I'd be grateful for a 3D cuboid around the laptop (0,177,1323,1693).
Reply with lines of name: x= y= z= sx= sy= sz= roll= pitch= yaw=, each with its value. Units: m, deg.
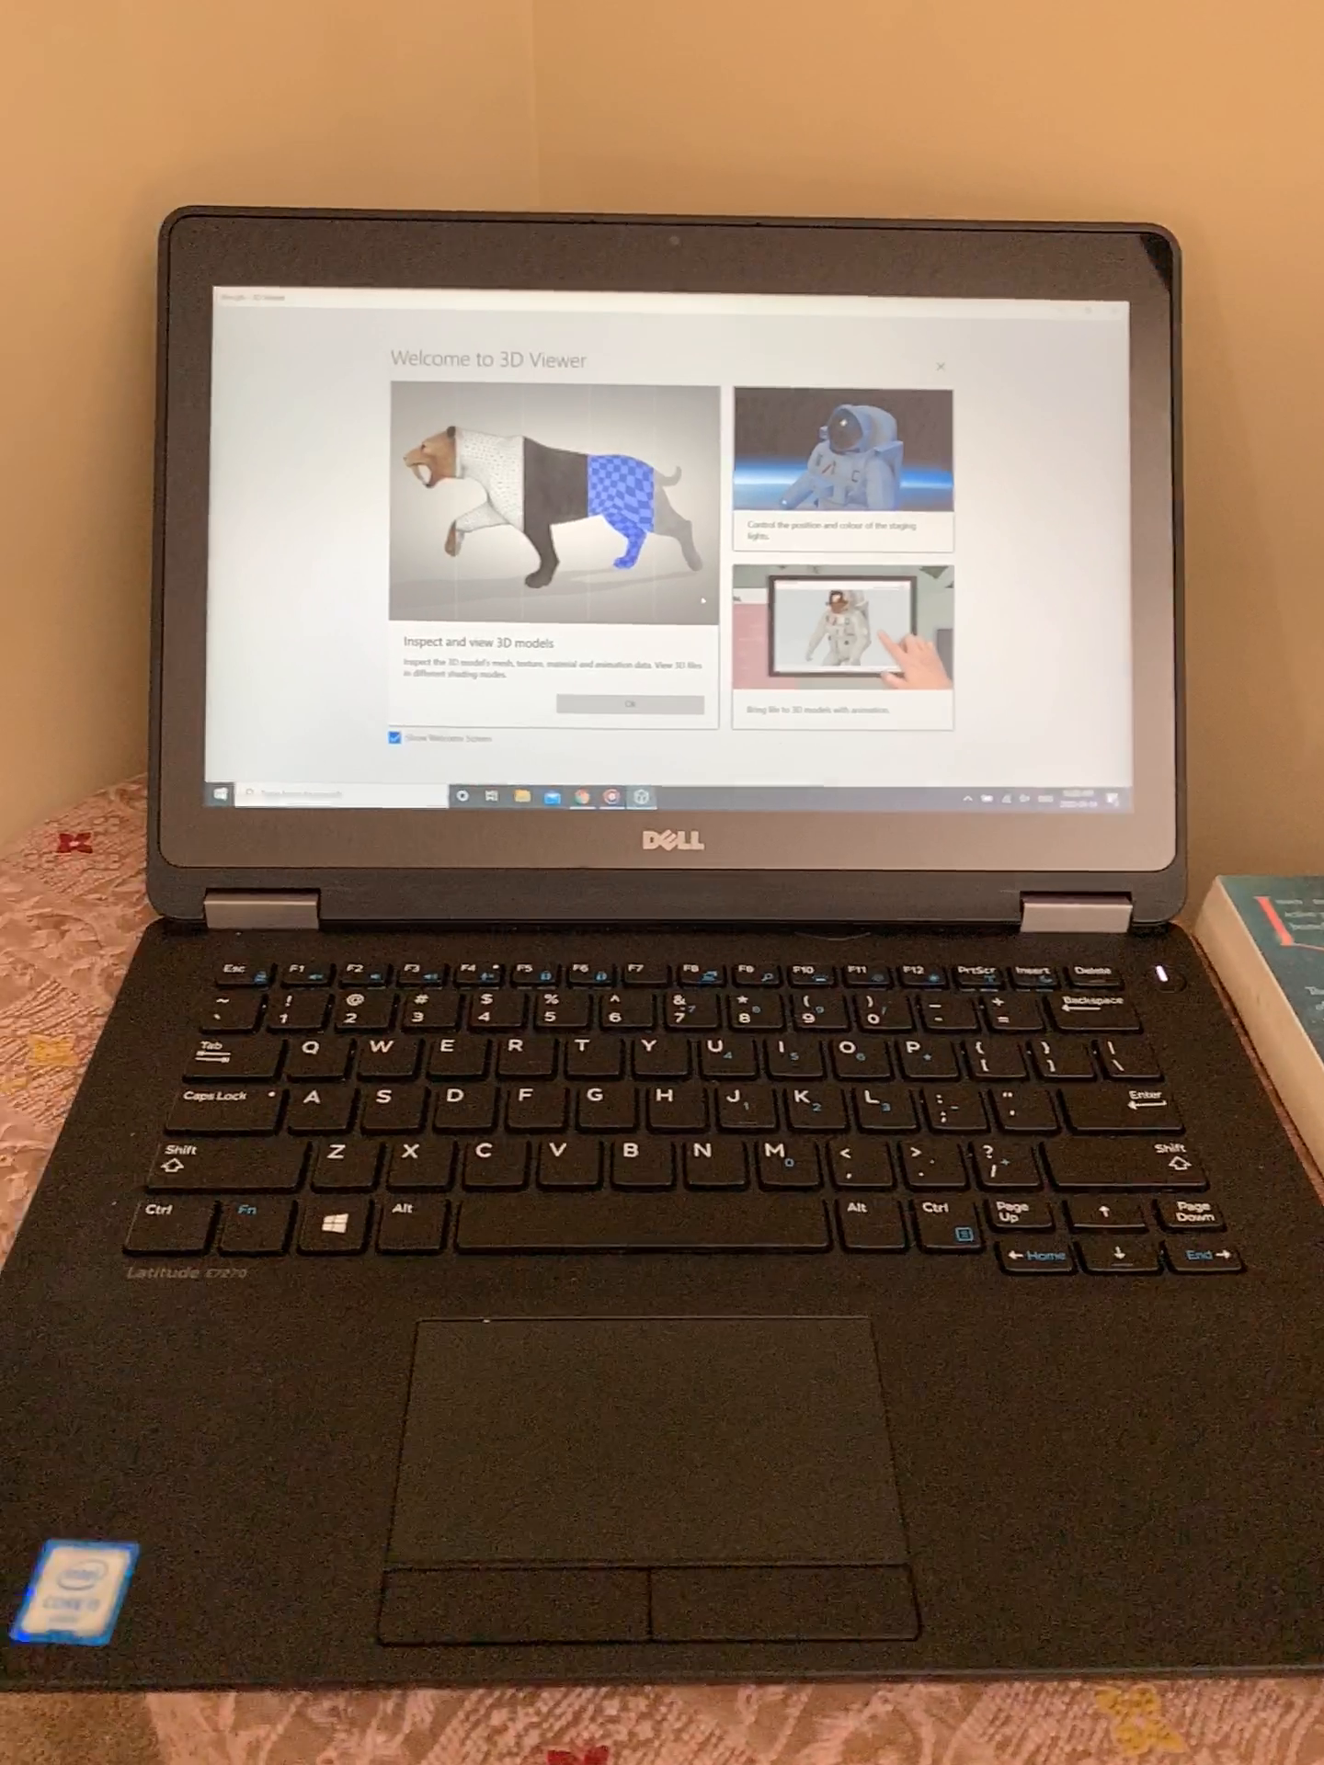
laptop: x=0.006 y=-0.046 z=0.398 sx=0.365 sy=0.186 sz=0.424 roll=0 pitch=40 yaw=-1
